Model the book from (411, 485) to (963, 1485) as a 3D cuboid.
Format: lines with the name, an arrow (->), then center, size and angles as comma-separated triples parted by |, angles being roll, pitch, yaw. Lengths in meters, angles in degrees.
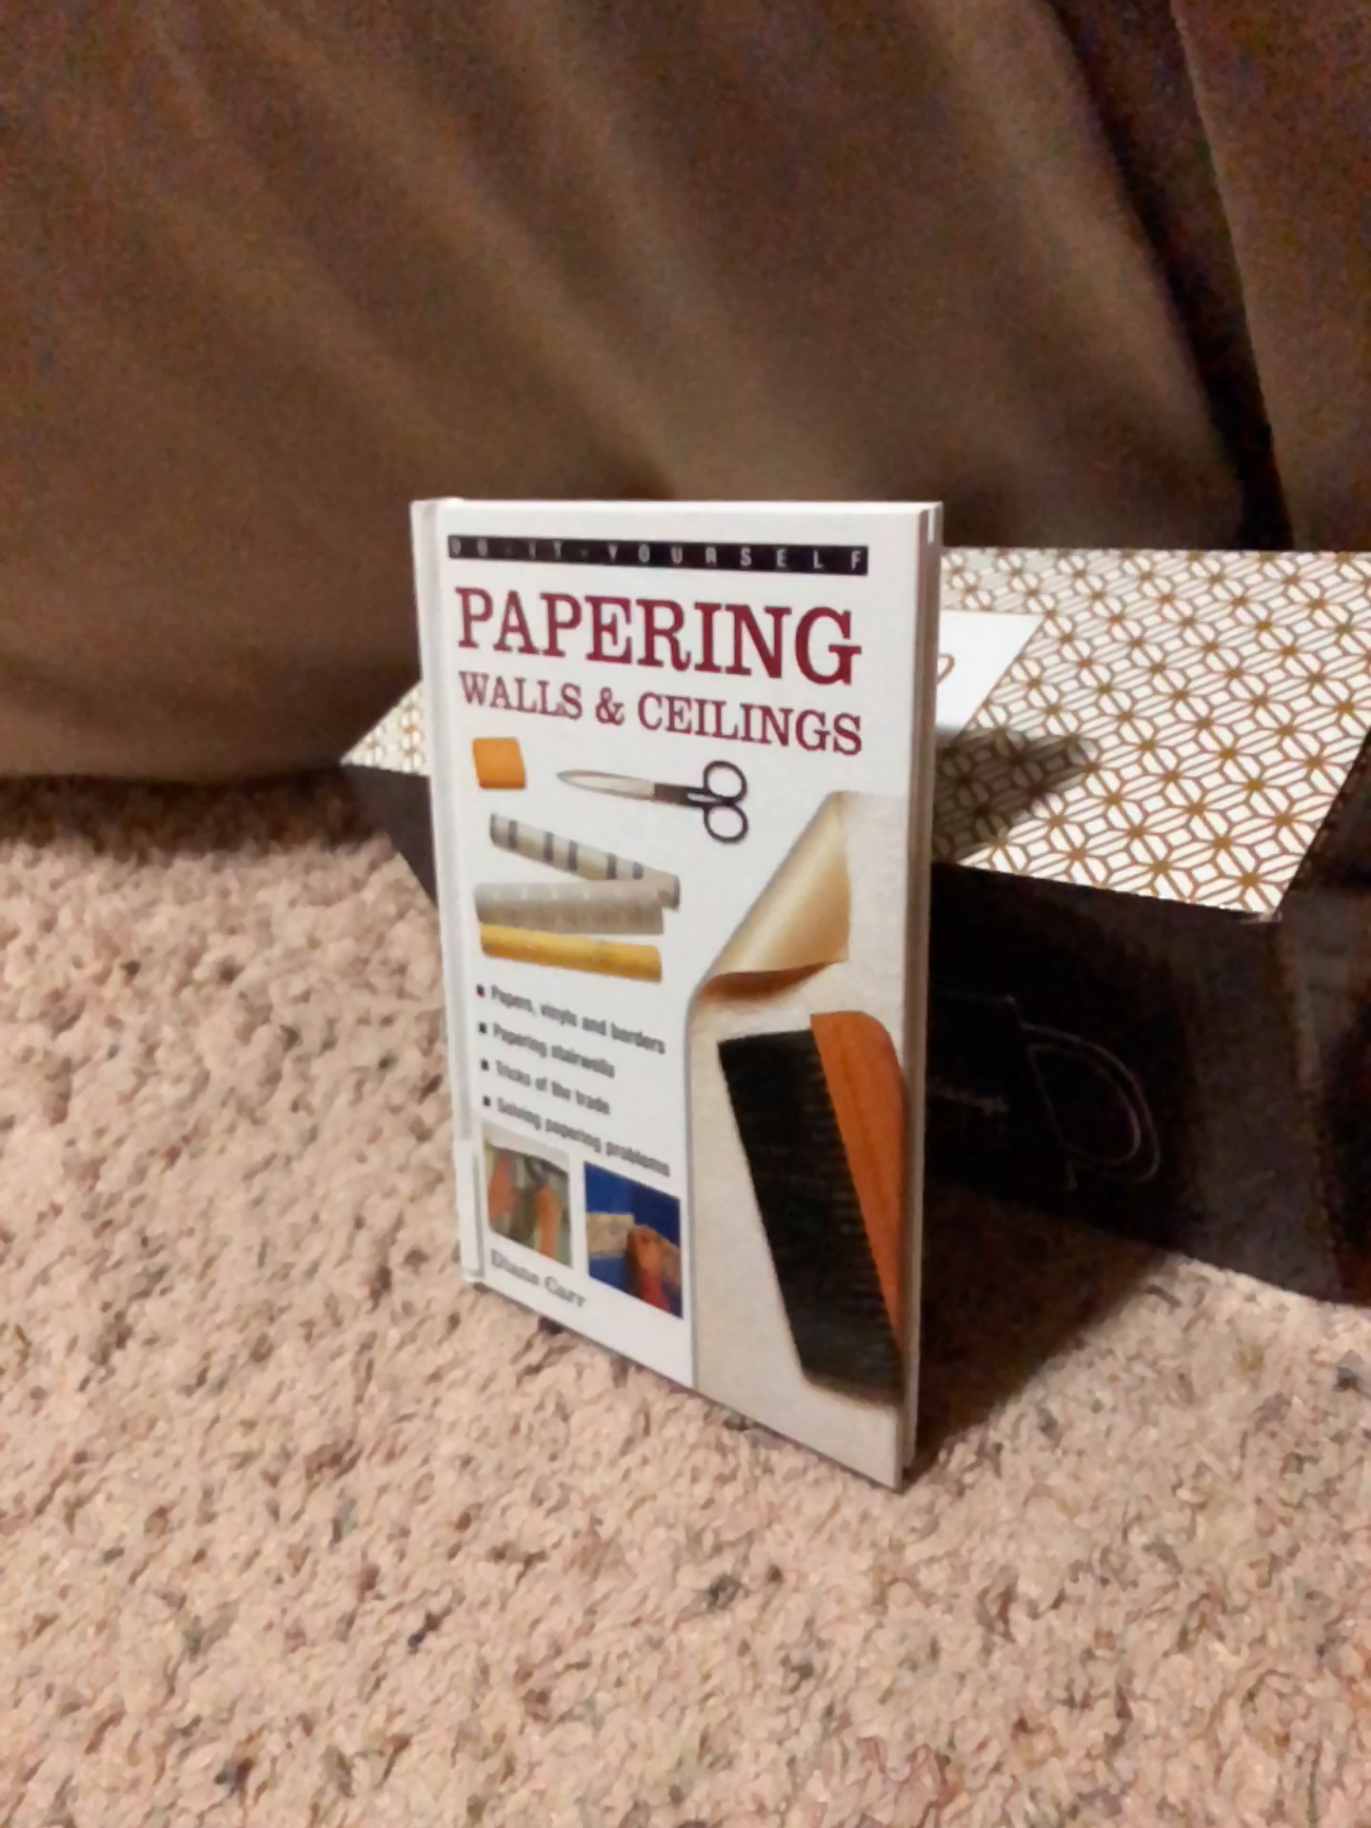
book -> -0.004, 0.010, 0.353 | 0.143, 0.207, 0.015 | 13, 22, 40
